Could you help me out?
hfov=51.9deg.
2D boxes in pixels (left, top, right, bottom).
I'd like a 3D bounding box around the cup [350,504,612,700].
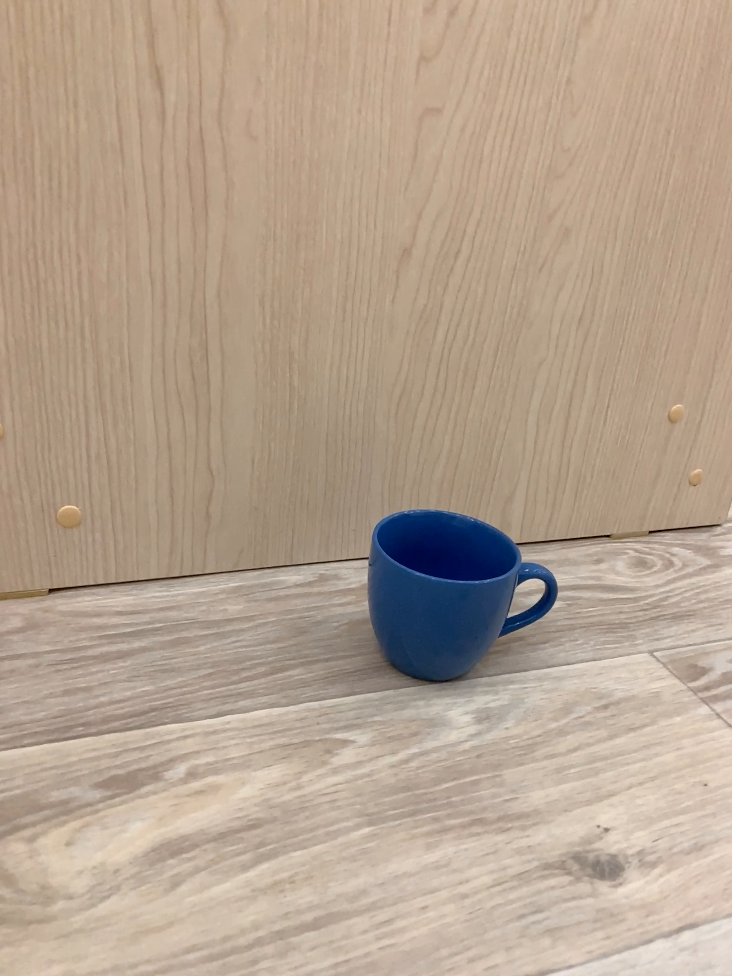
[{"bbox_3d":[0.060,0.061,0.432,0.117,0.074,0.078,-1,24,-16],"label":"cup"}]
